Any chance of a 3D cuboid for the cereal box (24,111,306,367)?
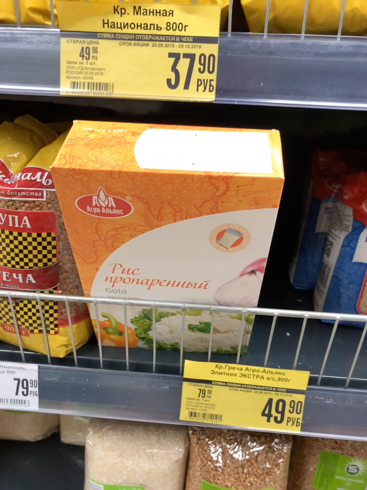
[{"bbox_3d":[-0.010,0.010,0.291,0.140,0.189,0.060,3,46,2],"label":"cereal box"}]
